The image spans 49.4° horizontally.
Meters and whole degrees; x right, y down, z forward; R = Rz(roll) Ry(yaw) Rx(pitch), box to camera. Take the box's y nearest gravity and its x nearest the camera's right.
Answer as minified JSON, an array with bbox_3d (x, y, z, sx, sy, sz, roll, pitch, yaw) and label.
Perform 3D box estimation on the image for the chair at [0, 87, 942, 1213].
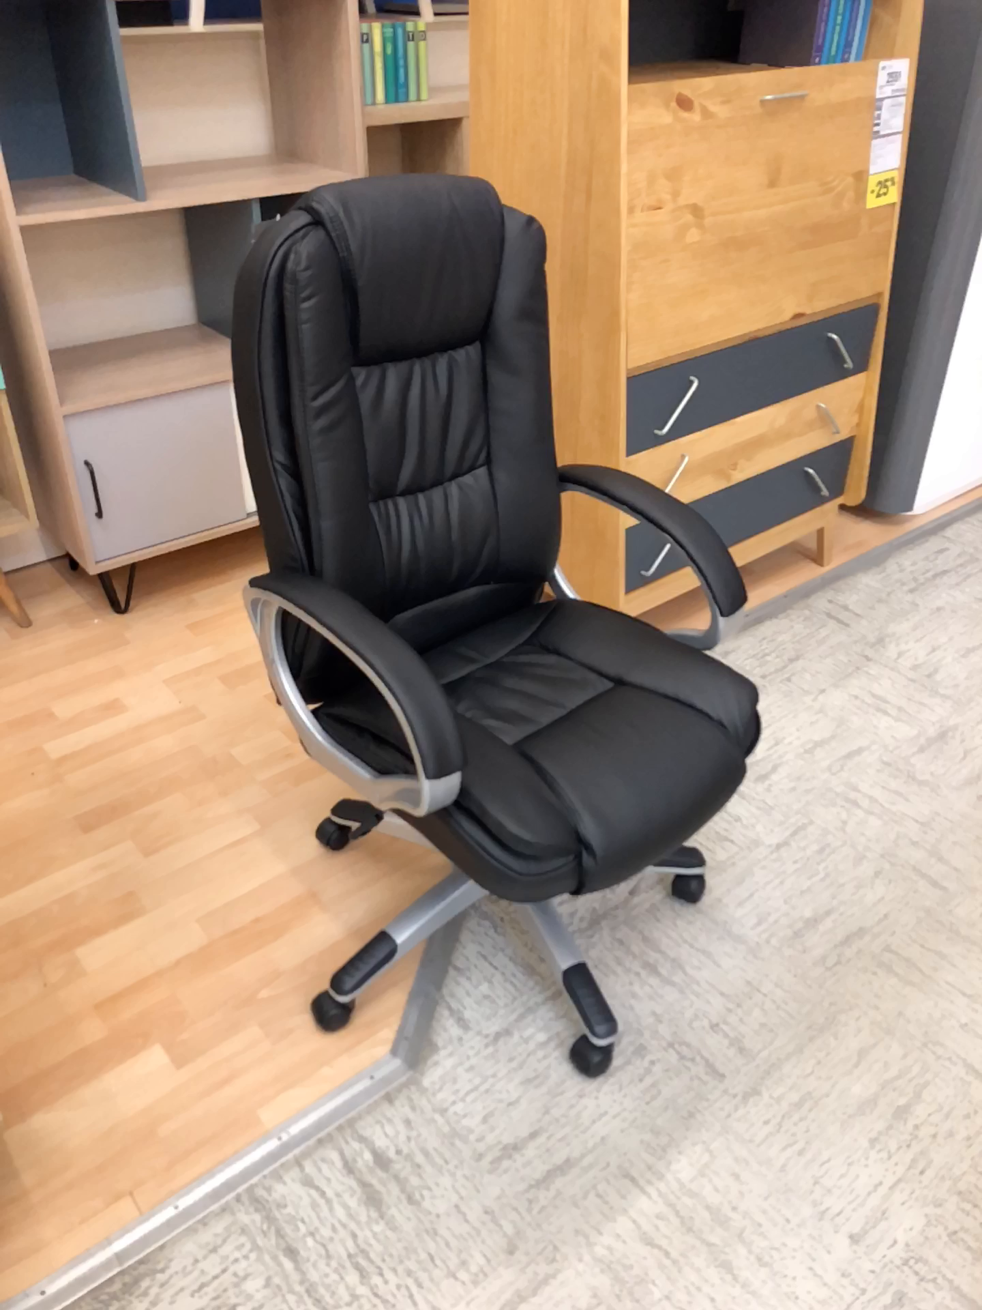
[{"bbox_3d":[-0.030,-0.089,1.373,0.680,1.064,0.764,26,40,36],"label":"chair"}]
